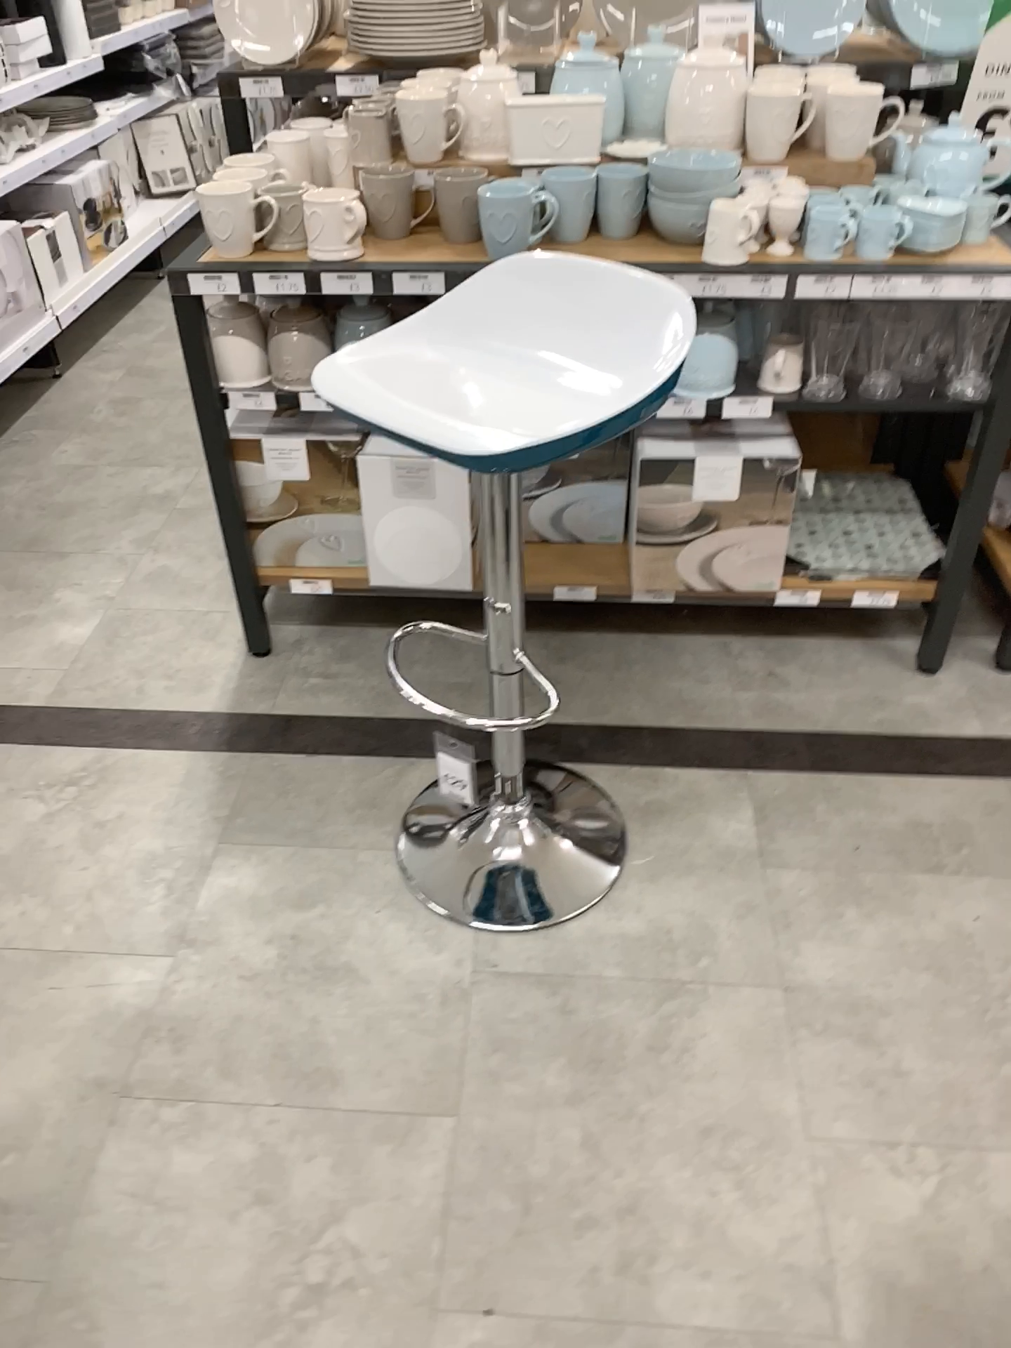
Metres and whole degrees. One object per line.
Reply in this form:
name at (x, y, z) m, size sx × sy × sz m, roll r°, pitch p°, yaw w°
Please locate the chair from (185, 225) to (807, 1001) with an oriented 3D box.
chair at (-0.001, -0.096, 1.373) m, size 0.504 × 0.775 × 0.472 m, roll 27°, pitch 45°, yaw 32°
